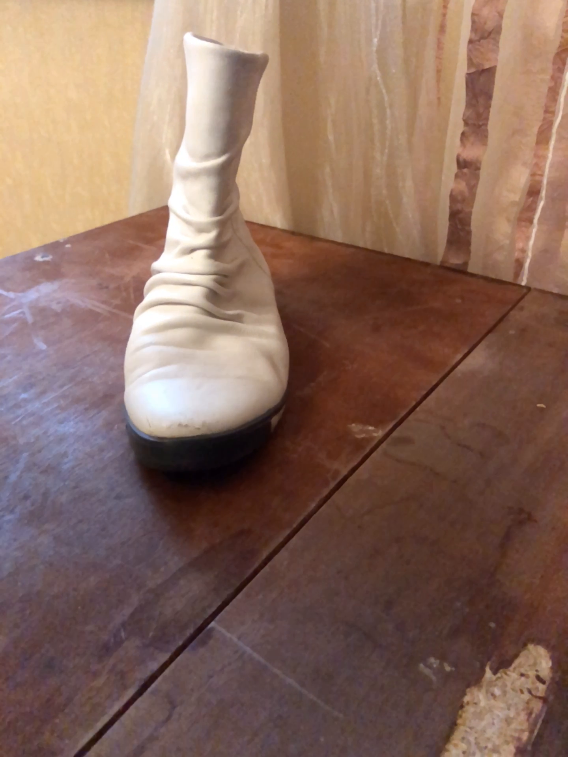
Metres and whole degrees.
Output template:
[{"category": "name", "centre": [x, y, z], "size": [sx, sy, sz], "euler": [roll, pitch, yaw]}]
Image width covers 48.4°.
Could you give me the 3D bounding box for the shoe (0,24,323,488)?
[{"category": "shoe", "centre": [-0.034, -0.089, 0.340], "size": [0.100, 0.169, 0.241], "euler": [3, 31, 2]}]
